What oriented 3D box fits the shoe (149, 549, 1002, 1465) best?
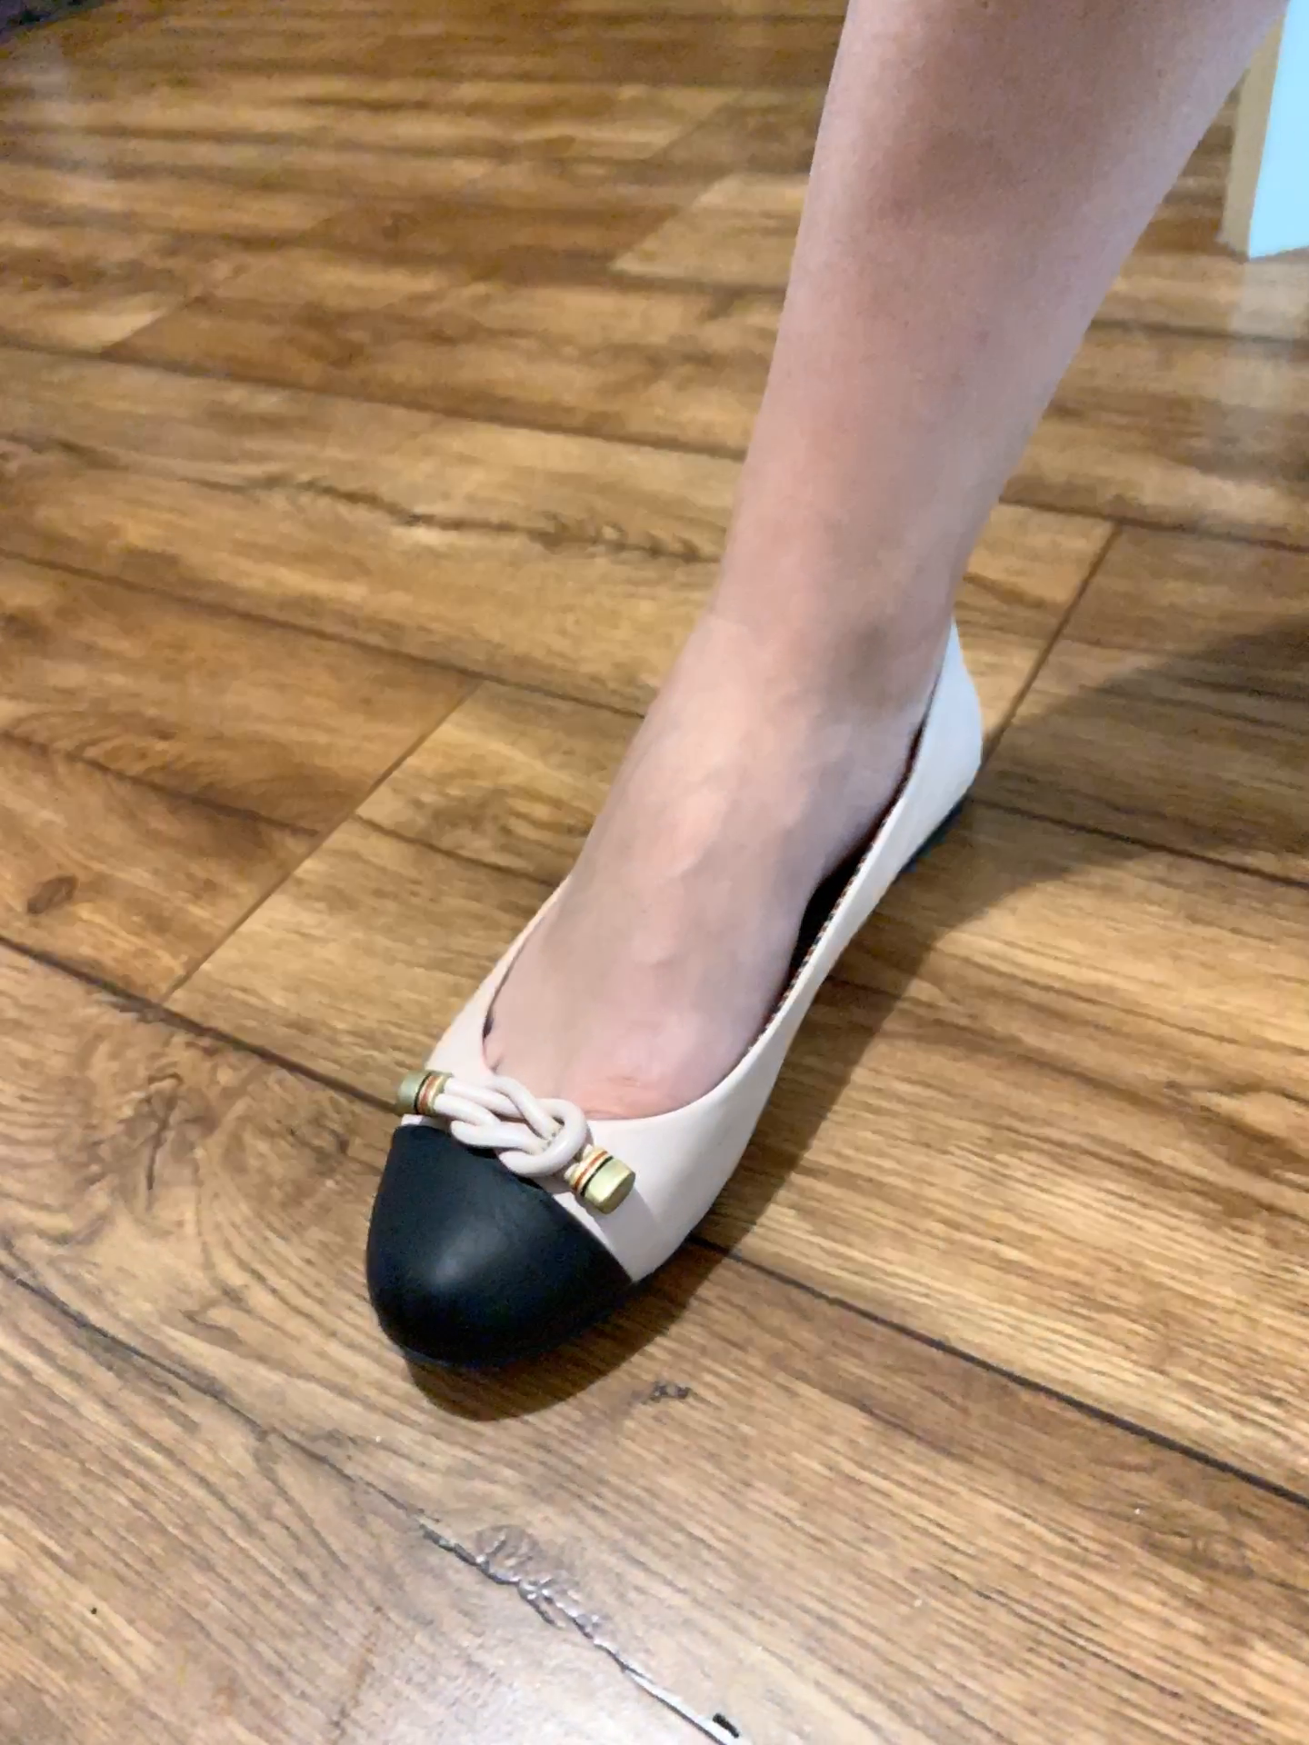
[{"bbox_3d":[-0.001,0.012,0.326,0.084,0.059,0.221,19,50,27],"label":"shoe"}]
